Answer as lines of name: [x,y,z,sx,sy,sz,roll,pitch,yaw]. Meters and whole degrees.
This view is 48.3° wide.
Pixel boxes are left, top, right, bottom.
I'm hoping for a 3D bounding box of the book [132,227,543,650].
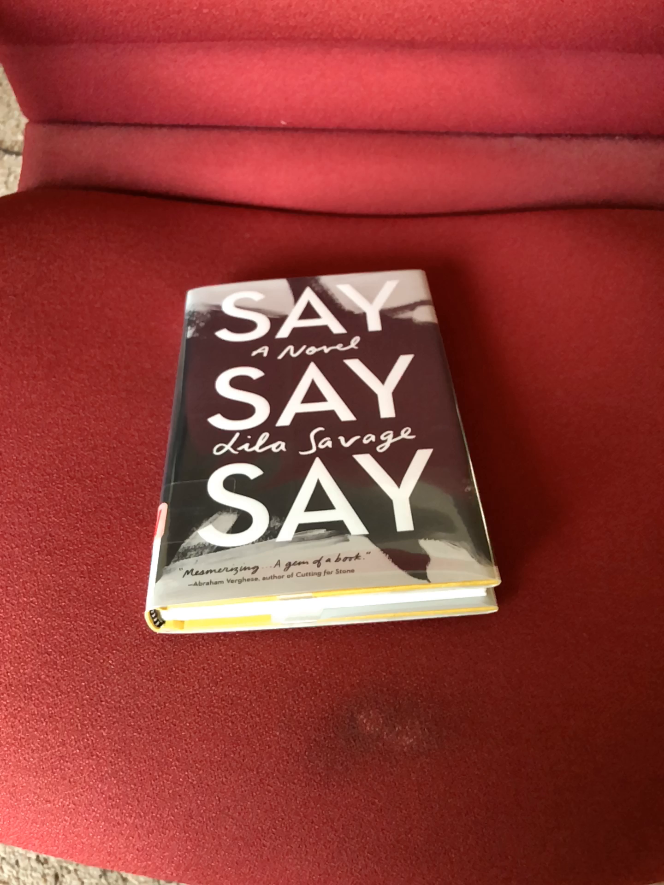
book: [-0.004,-0.016,0.350,0.150,0.040,0.210,-4,52,-1]
